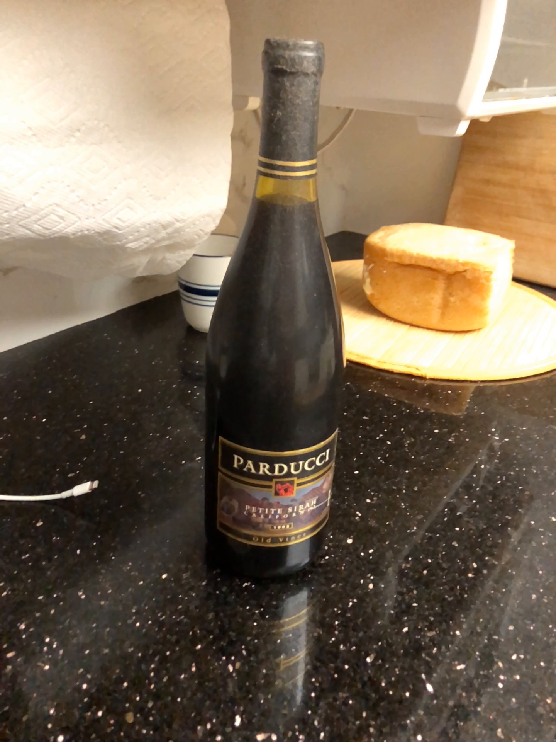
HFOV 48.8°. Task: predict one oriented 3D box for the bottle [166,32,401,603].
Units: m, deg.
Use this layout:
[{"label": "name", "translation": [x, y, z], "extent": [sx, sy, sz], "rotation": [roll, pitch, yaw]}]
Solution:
[{"label": "bottle", "translation": [-0.010, -0.018, 0.348], "extent": [0.090, 0.298, 0.090], "rotation": [2, 27, -1]}]
